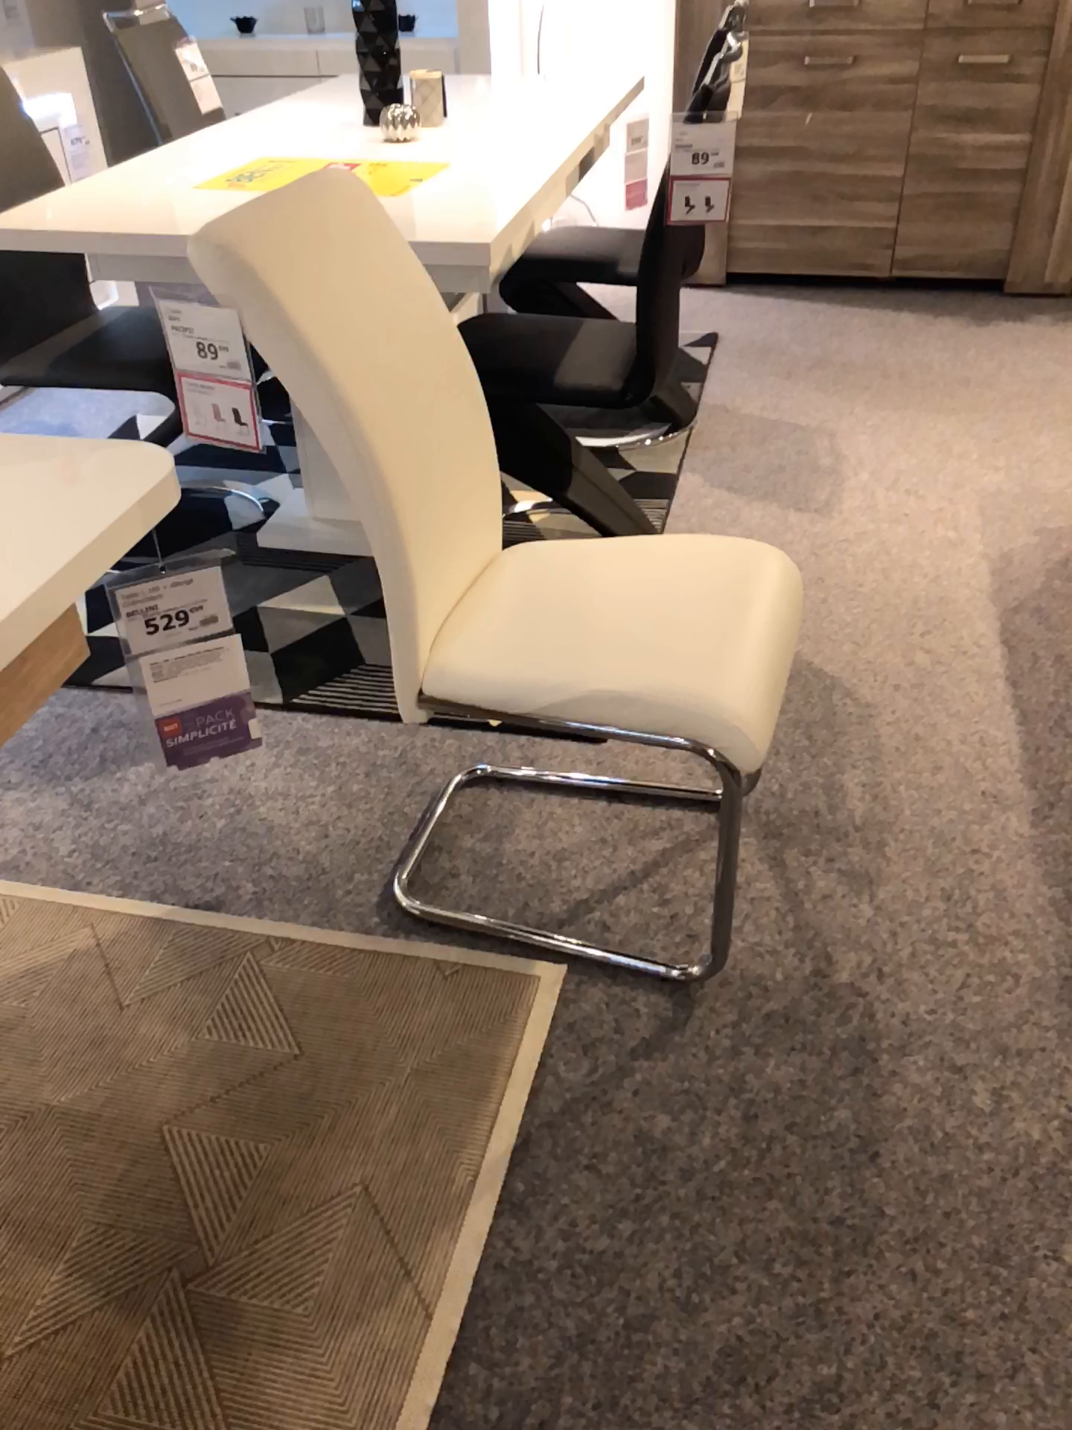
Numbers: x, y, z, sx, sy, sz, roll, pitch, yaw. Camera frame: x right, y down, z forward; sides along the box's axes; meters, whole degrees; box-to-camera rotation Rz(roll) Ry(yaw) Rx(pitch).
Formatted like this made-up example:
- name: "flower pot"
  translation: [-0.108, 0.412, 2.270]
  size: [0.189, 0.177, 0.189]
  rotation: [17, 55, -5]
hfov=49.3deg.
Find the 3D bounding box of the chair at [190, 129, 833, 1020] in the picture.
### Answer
- name: "chair"
  translation: [0.031, -0.170, 1.445]
  size: [0.550, 0.925, 0.503]
  rotation: [6, 35, 11]
